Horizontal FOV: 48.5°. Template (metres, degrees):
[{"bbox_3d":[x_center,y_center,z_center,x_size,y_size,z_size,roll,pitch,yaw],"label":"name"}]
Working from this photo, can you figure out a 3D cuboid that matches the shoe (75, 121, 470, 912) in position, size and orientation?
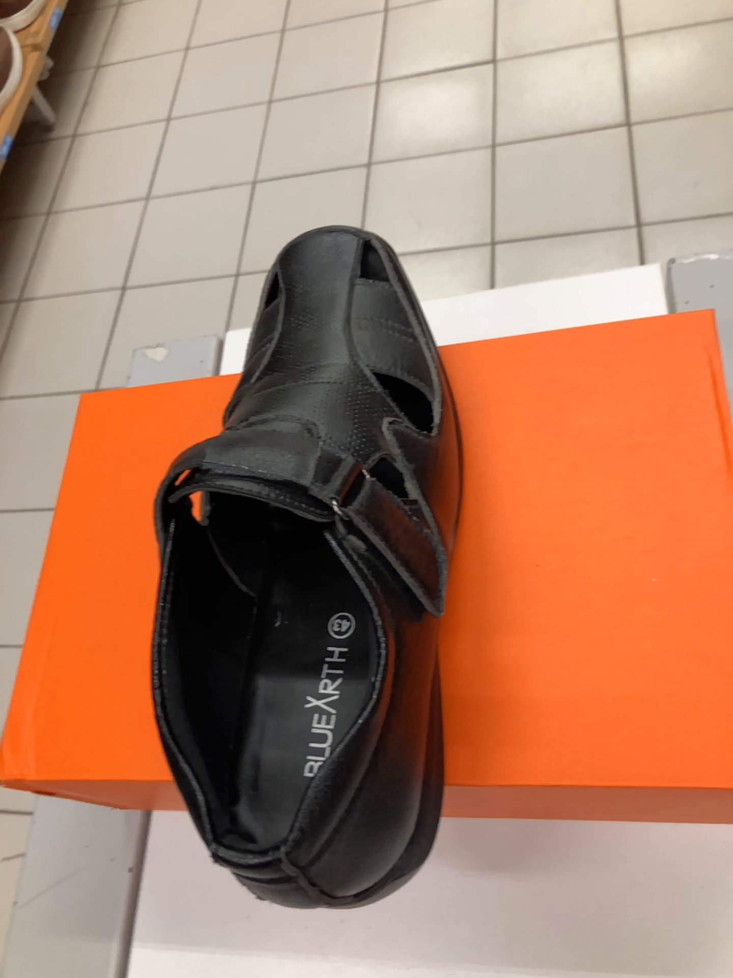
[{"bbox_3d":[-0.017,0.002,0.335,0.100,0.100,0.301,-5,62,14],"label":"shoe"}]
